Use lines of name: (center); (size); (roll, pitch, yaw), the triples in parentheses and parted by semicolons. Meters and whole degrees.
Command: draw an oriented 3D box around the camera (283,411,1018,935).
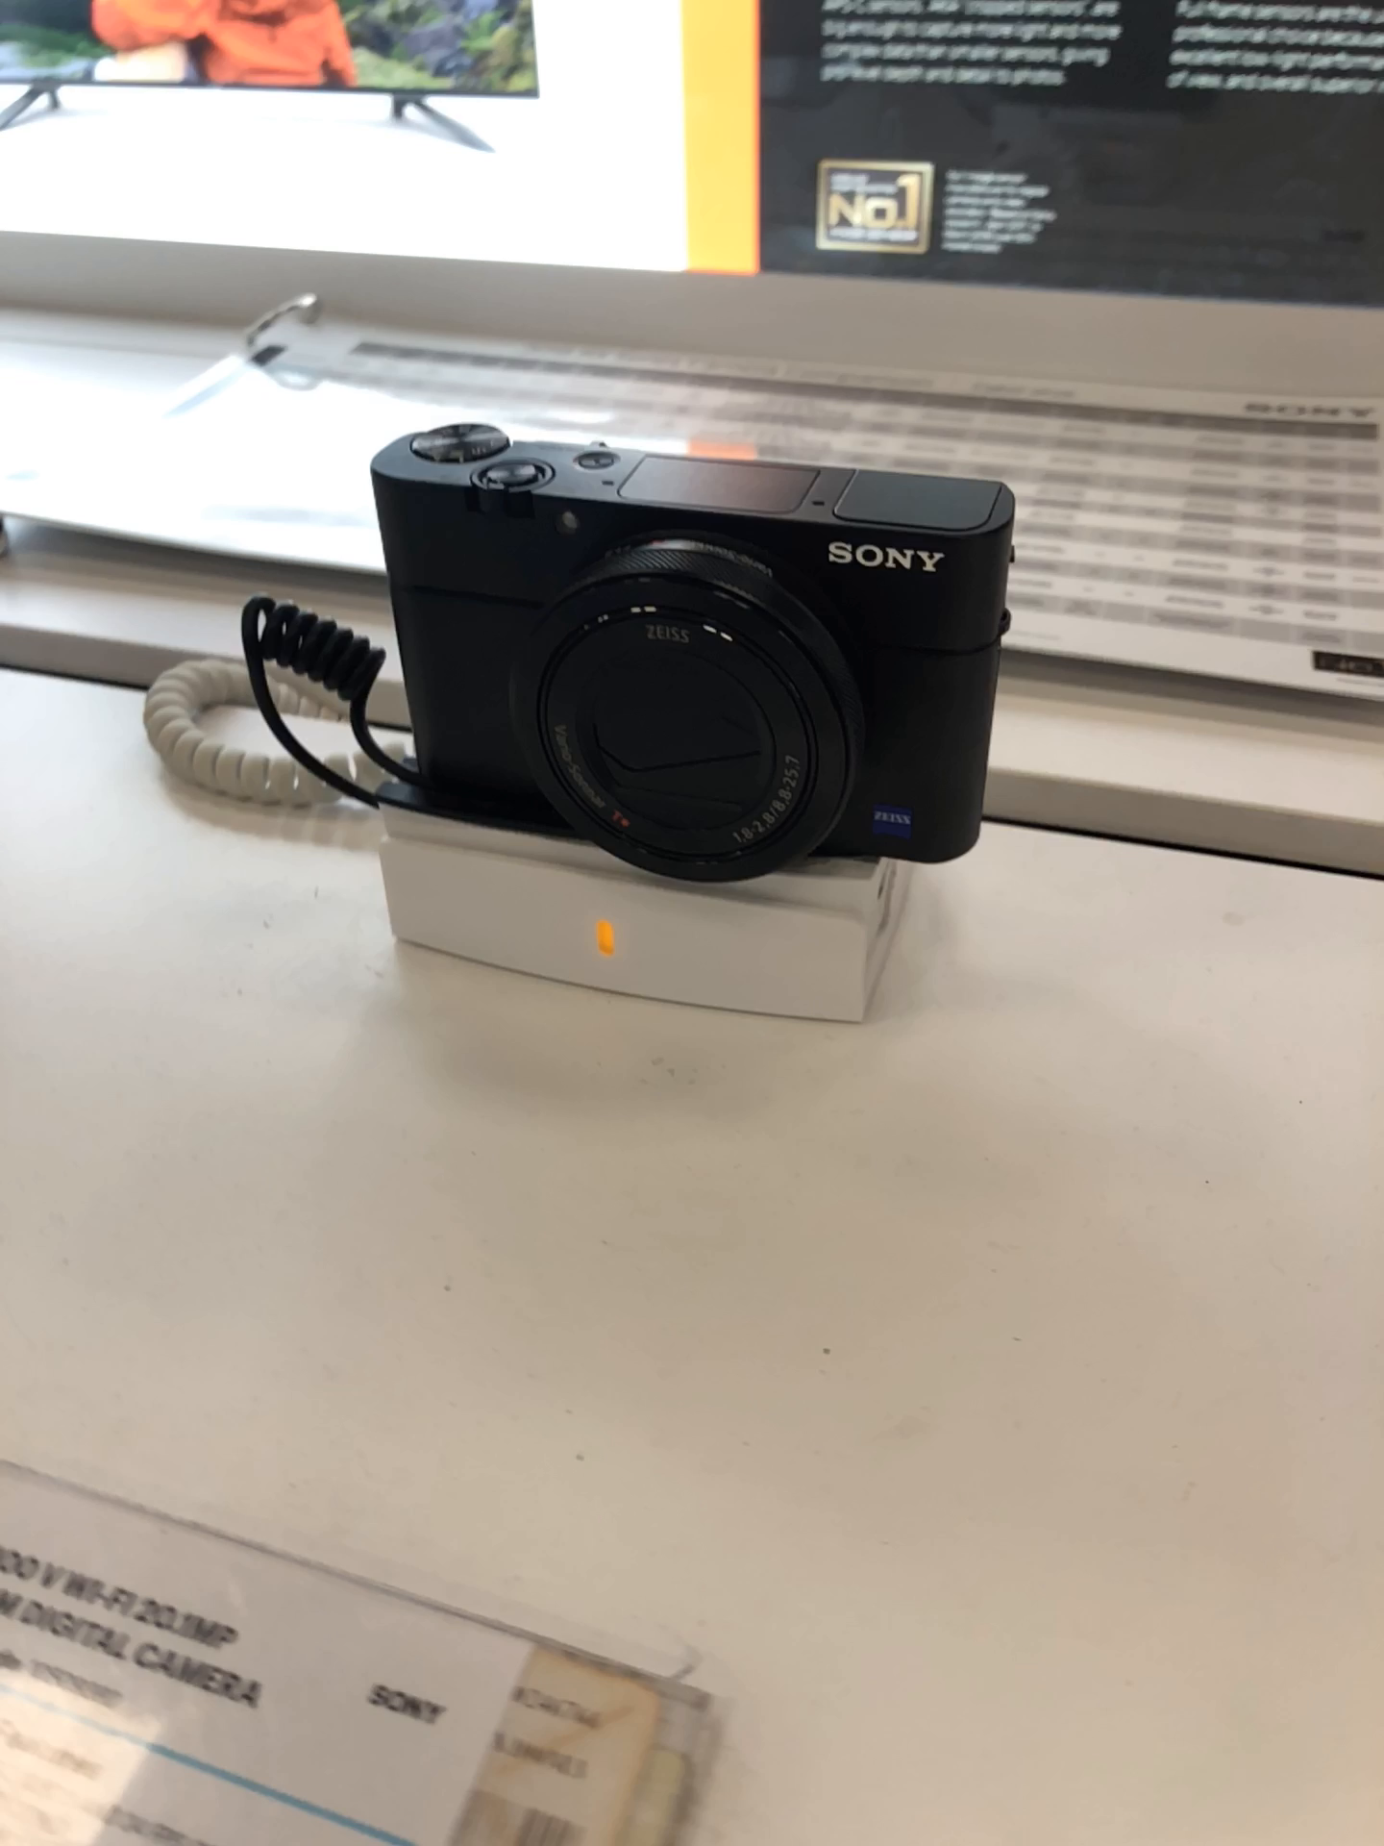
camera: (-0.005, -0.043, 0.263); (0.110, 0.070, 0.030); (10, 43, 15)
